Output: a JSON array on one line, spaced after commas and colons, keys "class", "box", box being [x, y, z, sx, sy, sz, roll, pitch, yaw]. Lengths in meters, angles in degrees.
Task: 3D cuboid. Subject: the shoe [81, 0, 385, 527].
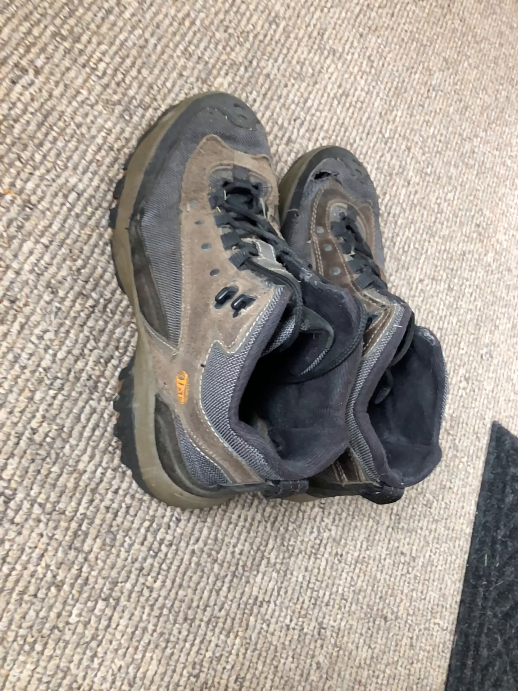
[{"class": "shoe", "box": [-0.018, -0.043, 0.358, 0.116, 0.135, 0.279, 10, 75, -36]}]

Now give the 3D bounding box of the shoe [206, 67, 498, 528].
[{"class": "shoe", "box": [0.075, -0.026, 0.425, 0.119, 0.137, 0.280, 23, 67, -33]}]
